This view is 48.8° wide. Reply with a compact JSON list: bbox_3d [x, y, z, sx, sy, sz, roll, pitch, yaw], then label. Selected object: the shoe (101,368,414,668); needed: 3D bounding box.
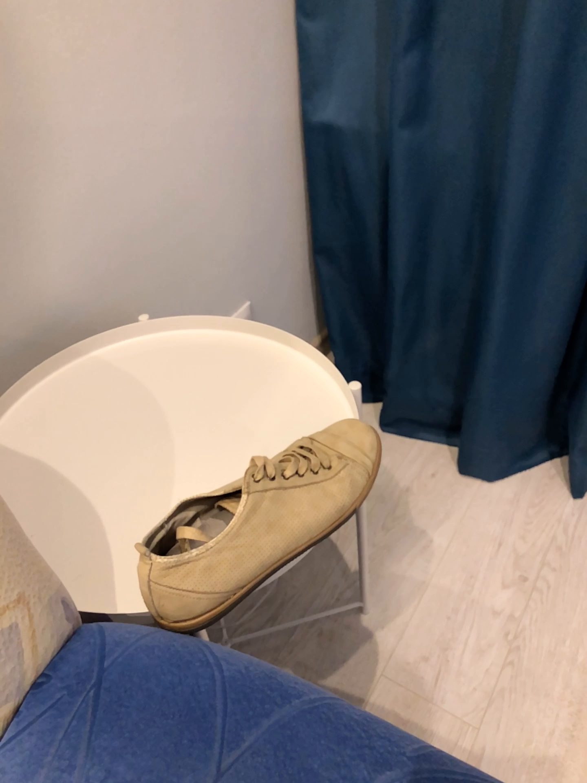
[{"bbox_3d":[-0.018,0.095,0.588,0.110,0.070,0.281,26,49,35],"label":"shoe"}]
